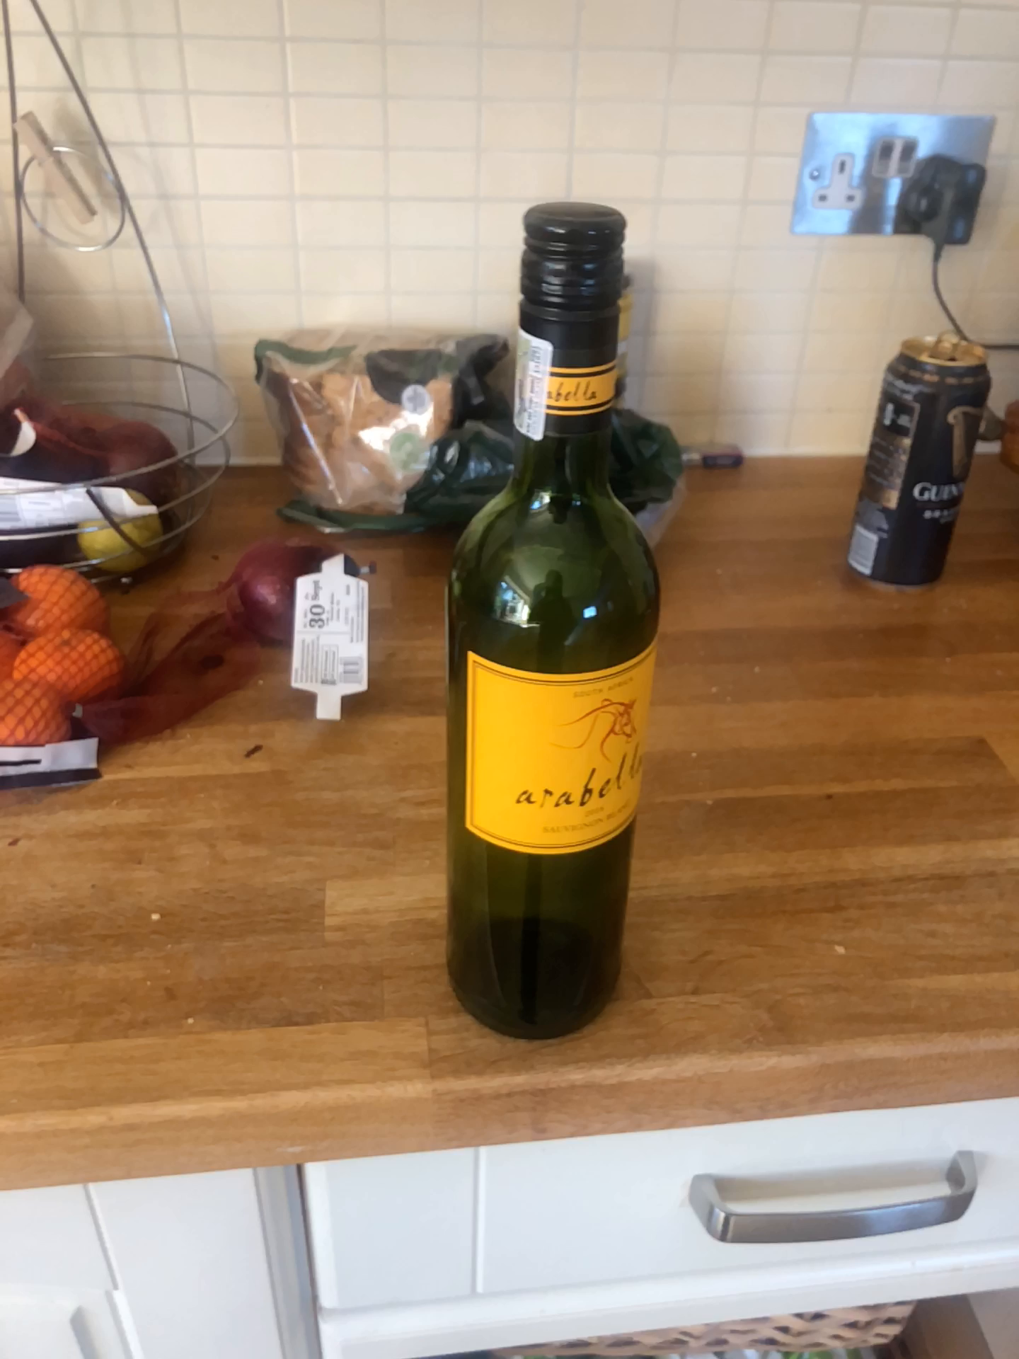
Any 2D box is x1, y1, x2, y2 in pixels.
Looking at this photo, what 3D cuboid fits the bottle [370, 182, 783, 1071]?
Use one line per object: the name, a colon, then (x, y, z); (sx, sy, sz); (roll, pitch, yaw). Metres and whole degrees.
bottle: (0.011, -0.006, 0.400); (0.090, 0.298, 0.091); (1, 33, -1)
